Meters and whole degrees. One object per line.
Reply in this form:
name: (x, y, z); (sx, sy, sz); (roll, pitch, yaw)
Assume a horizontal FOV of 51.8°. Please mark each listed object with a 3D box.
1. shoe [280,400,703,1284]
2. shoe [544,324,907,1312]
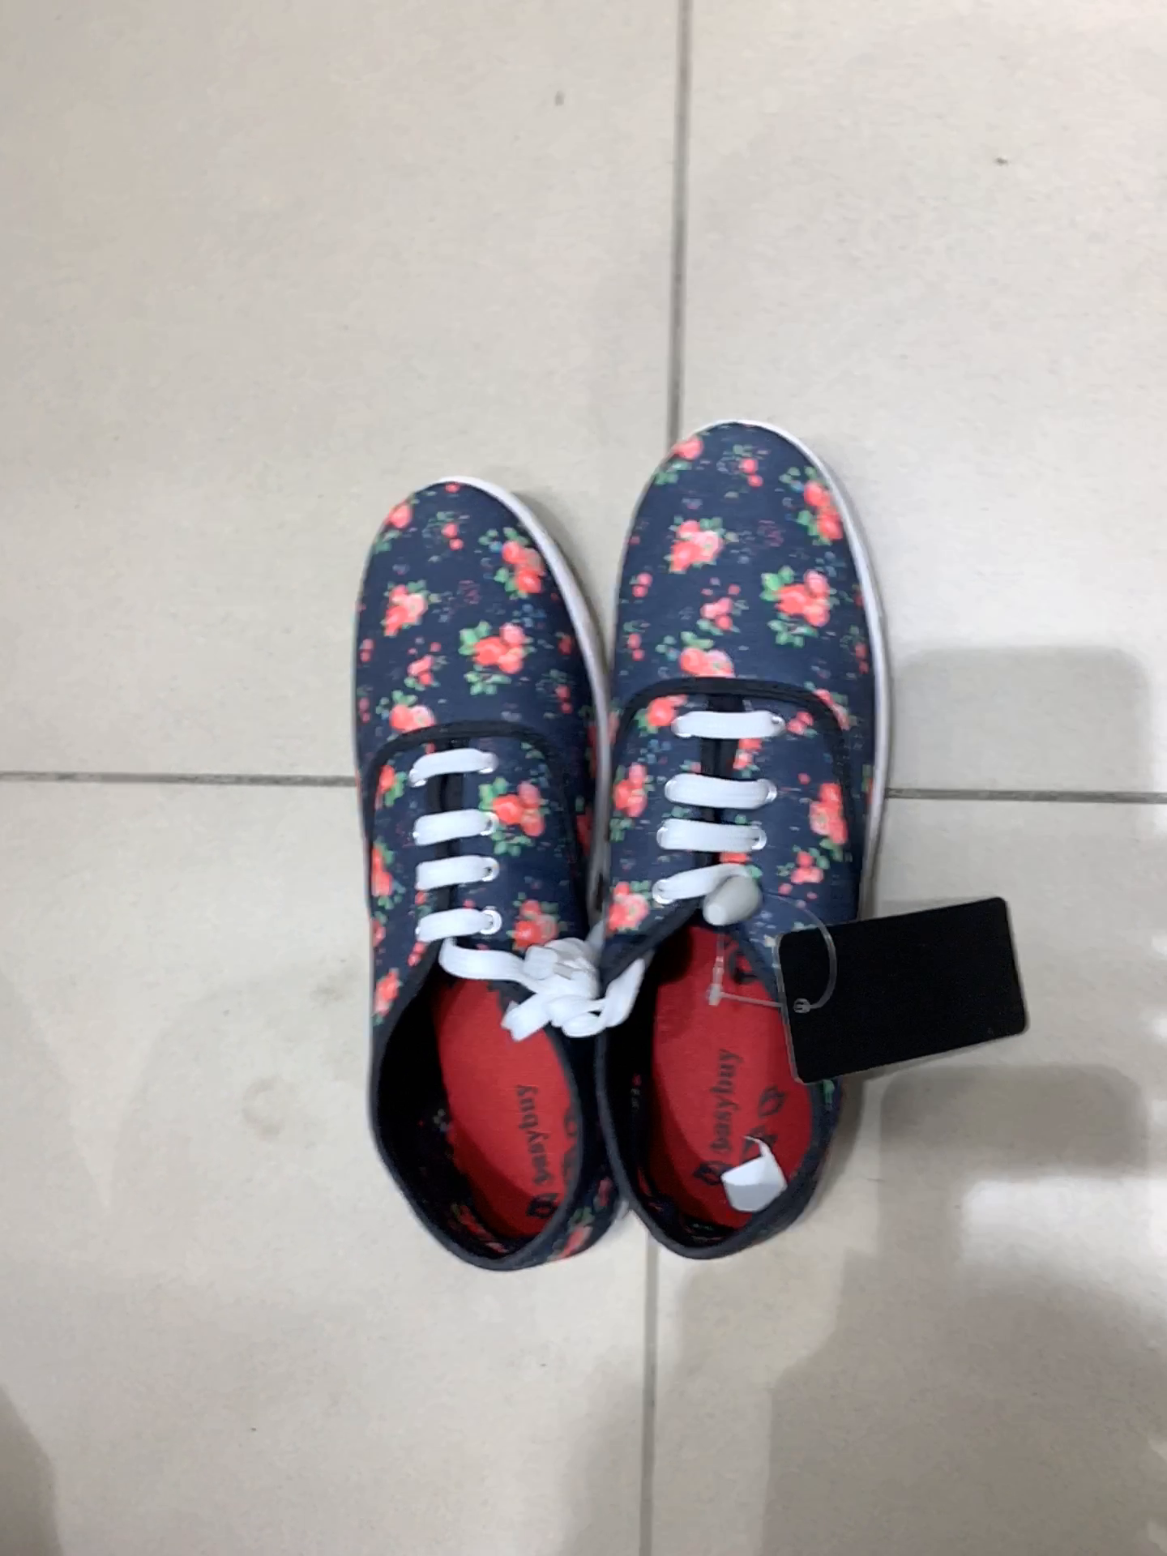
shoe: (-0.030, 0.023, 0.418); (0.100, 0.080, 0.270); (-7, 85, 16)
shoe: (0.050, 0.010, 0.381); (0.100, 0.080, 0.270); (0, 87, 17)
